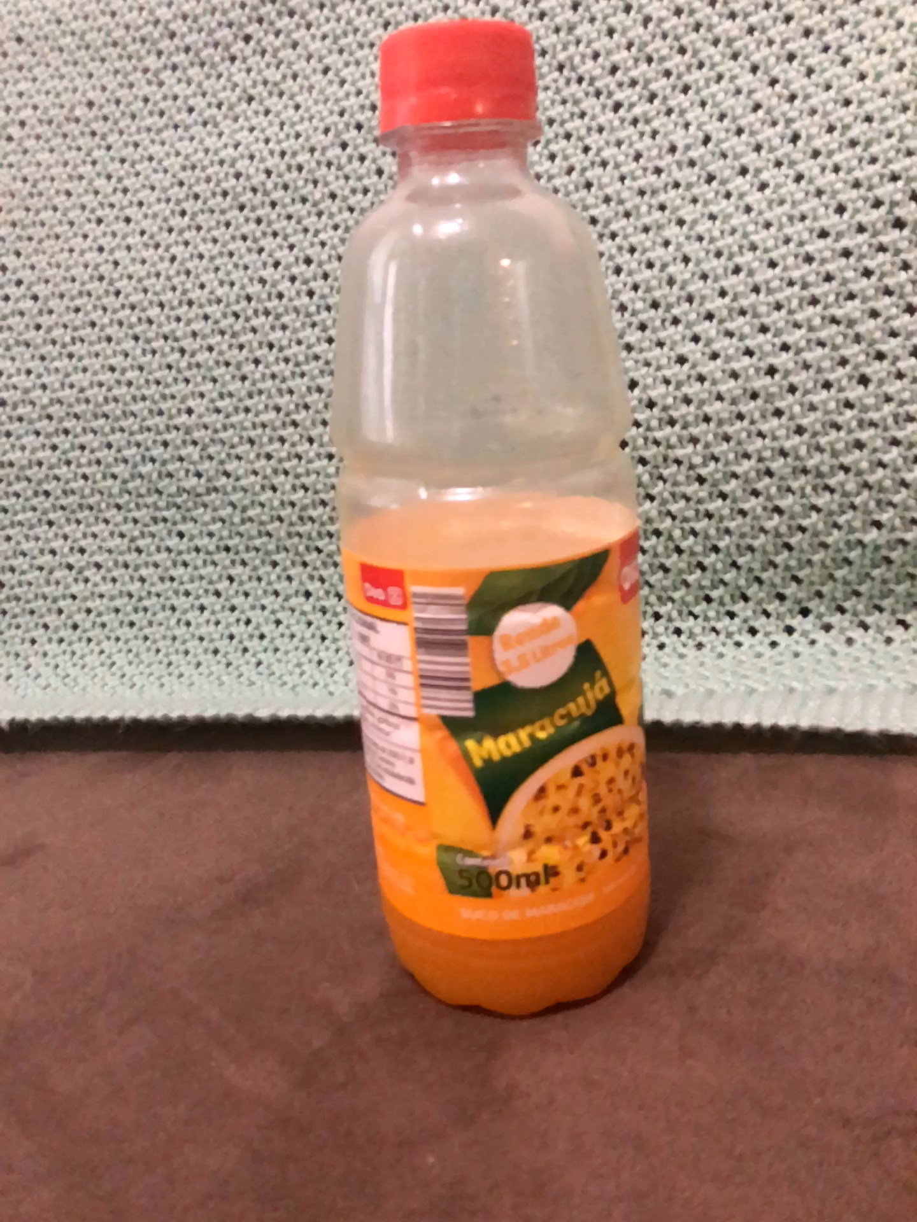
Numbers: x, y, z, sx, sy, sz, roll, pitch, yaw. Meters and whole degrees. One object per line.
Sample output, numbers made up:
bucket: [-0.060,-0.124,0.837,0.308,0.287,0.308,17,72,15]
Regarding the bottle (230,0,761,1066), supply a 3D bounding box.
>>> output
bottle: [0.008,-0.020,0.225,0.080,0.199,0.080,-5,16,1]
